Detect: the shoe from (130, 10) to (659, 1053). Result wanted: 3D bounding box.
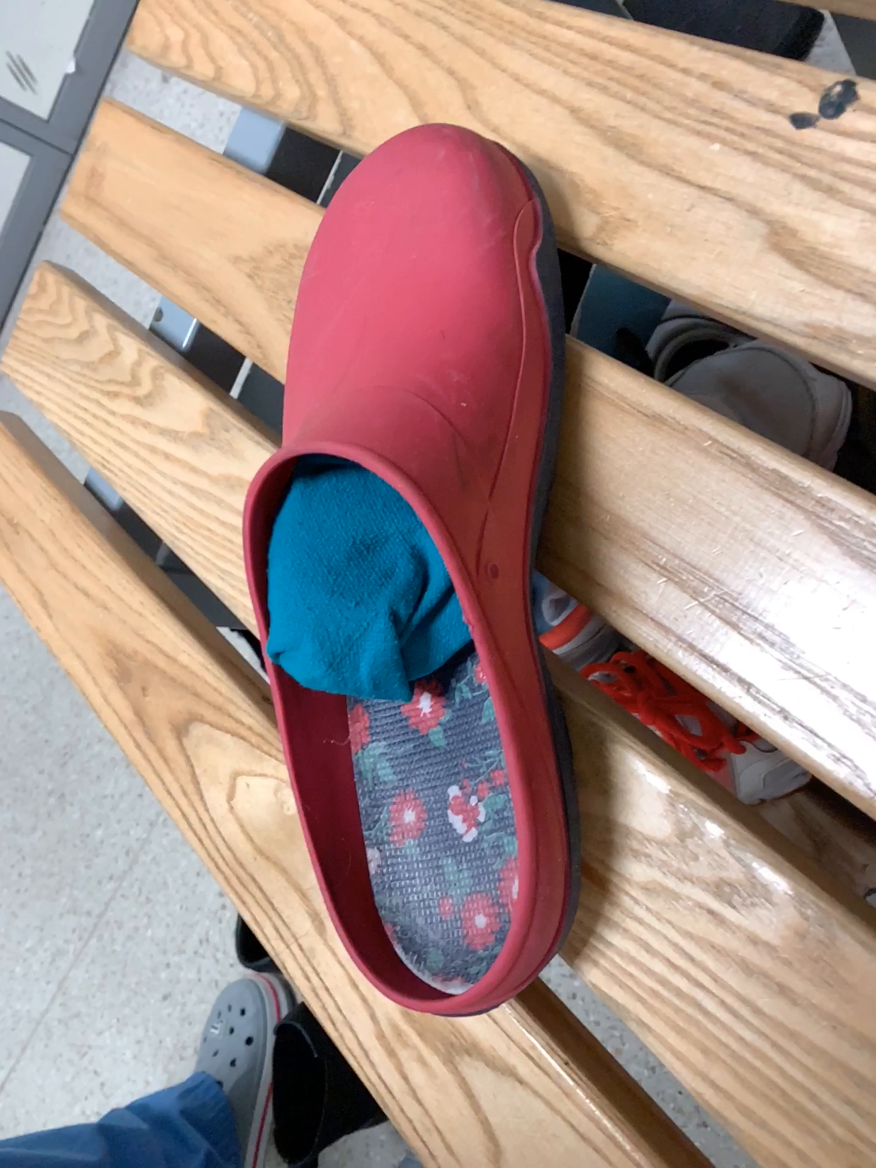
[{"bbox_3d":[-0.020,-0.011,0.260,0.107,0.076,0.239,-14,76,35],"label":"shoe"}]
